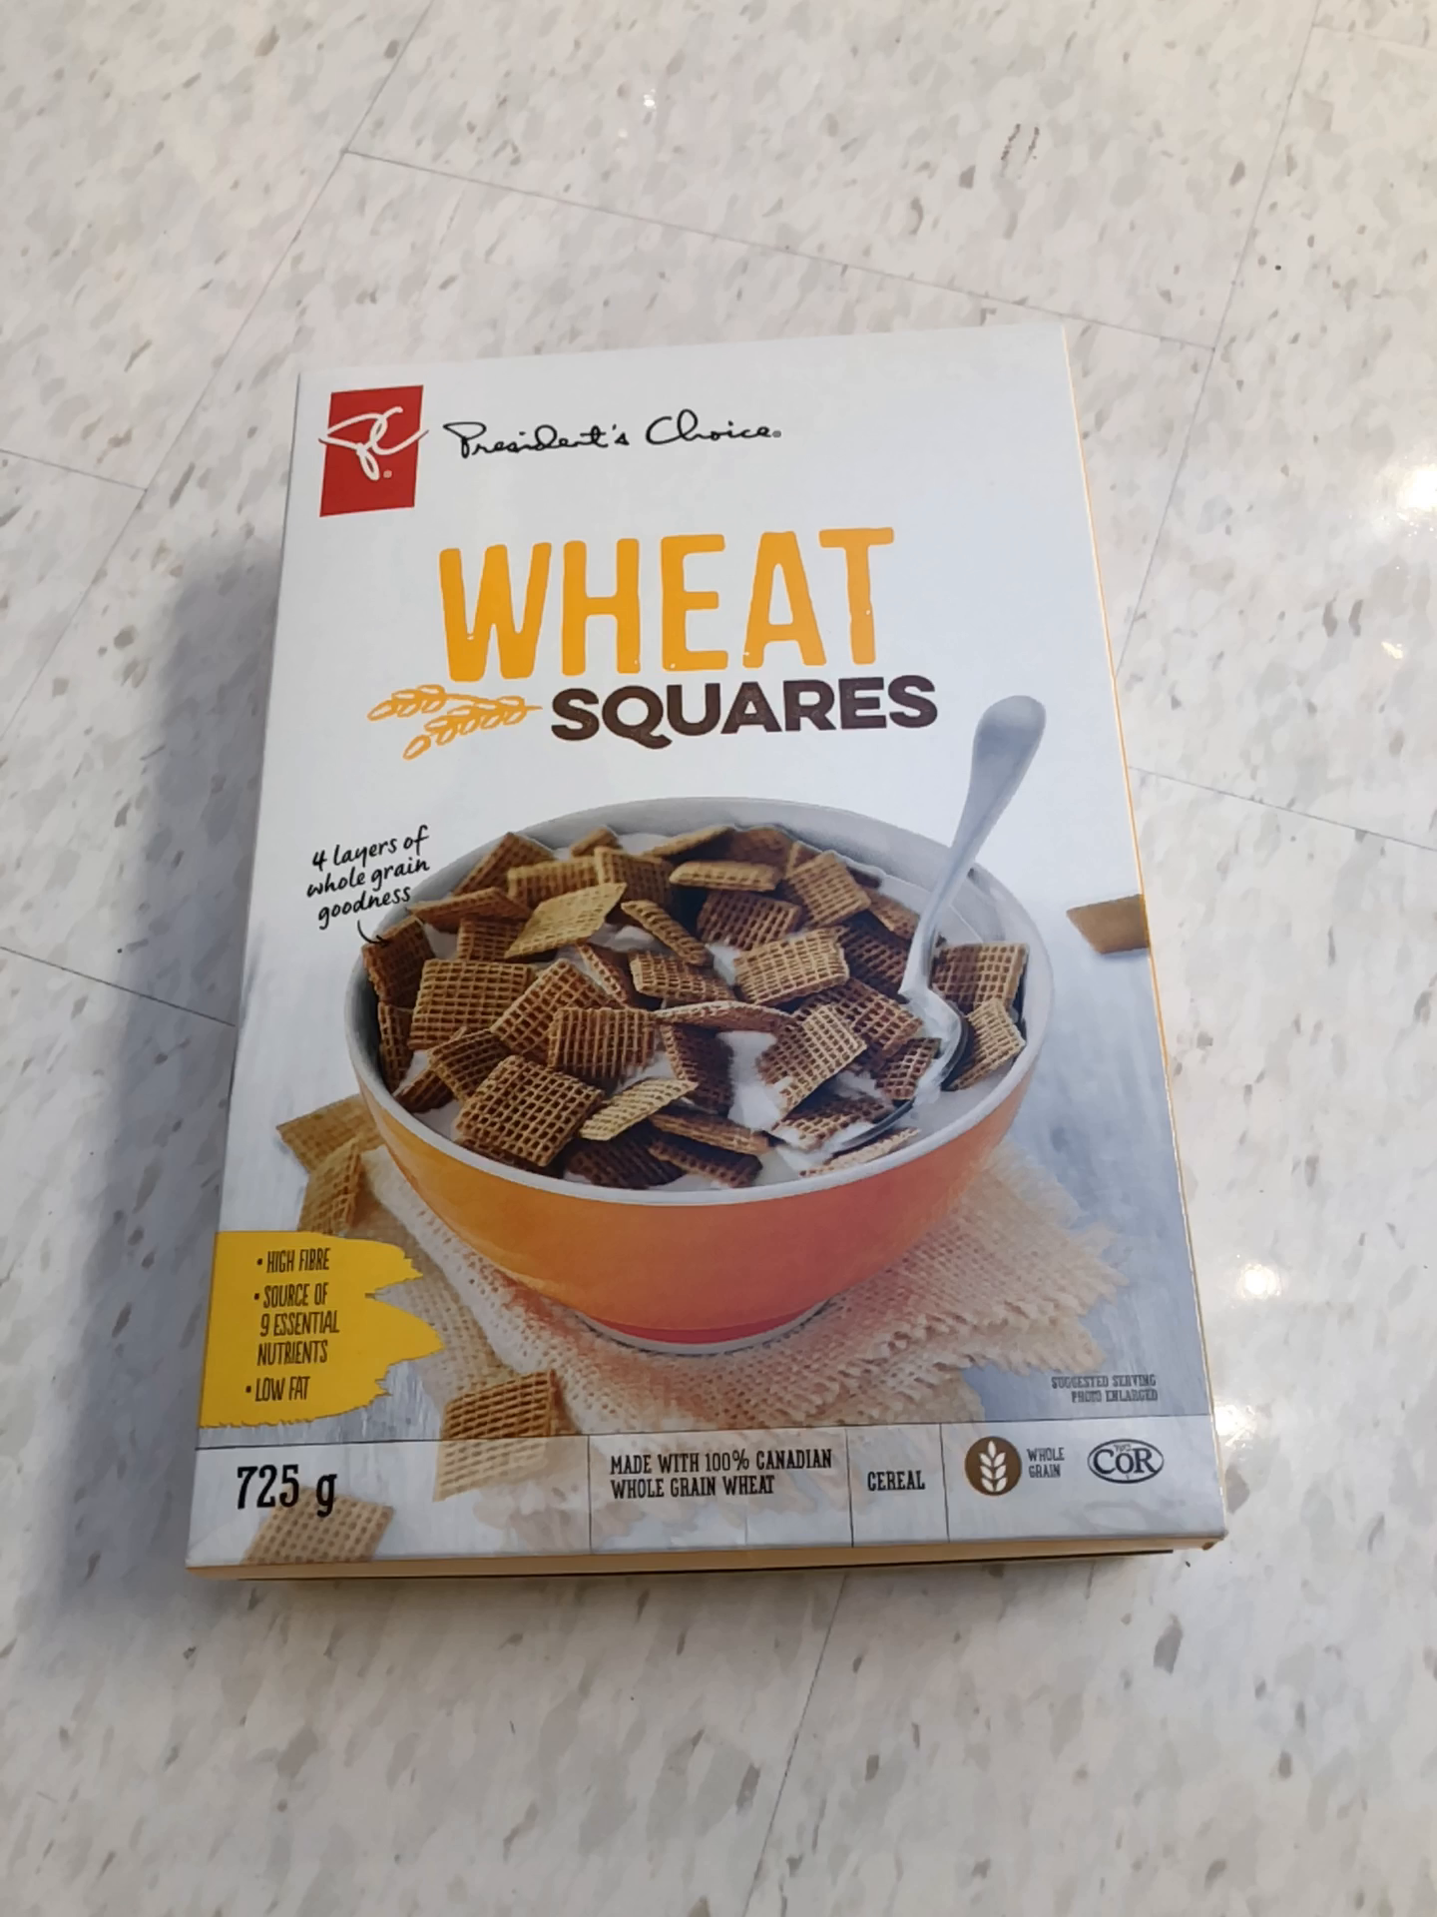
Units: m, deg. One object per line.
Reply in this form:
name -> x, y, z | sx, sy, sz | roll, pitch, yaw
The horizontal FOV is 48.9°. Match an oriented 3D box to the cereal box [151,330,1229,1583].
cereal box -> -0.008, -0.007, 0.387 | 0.200, 0.080, 0.291 | -2, 67, 2
